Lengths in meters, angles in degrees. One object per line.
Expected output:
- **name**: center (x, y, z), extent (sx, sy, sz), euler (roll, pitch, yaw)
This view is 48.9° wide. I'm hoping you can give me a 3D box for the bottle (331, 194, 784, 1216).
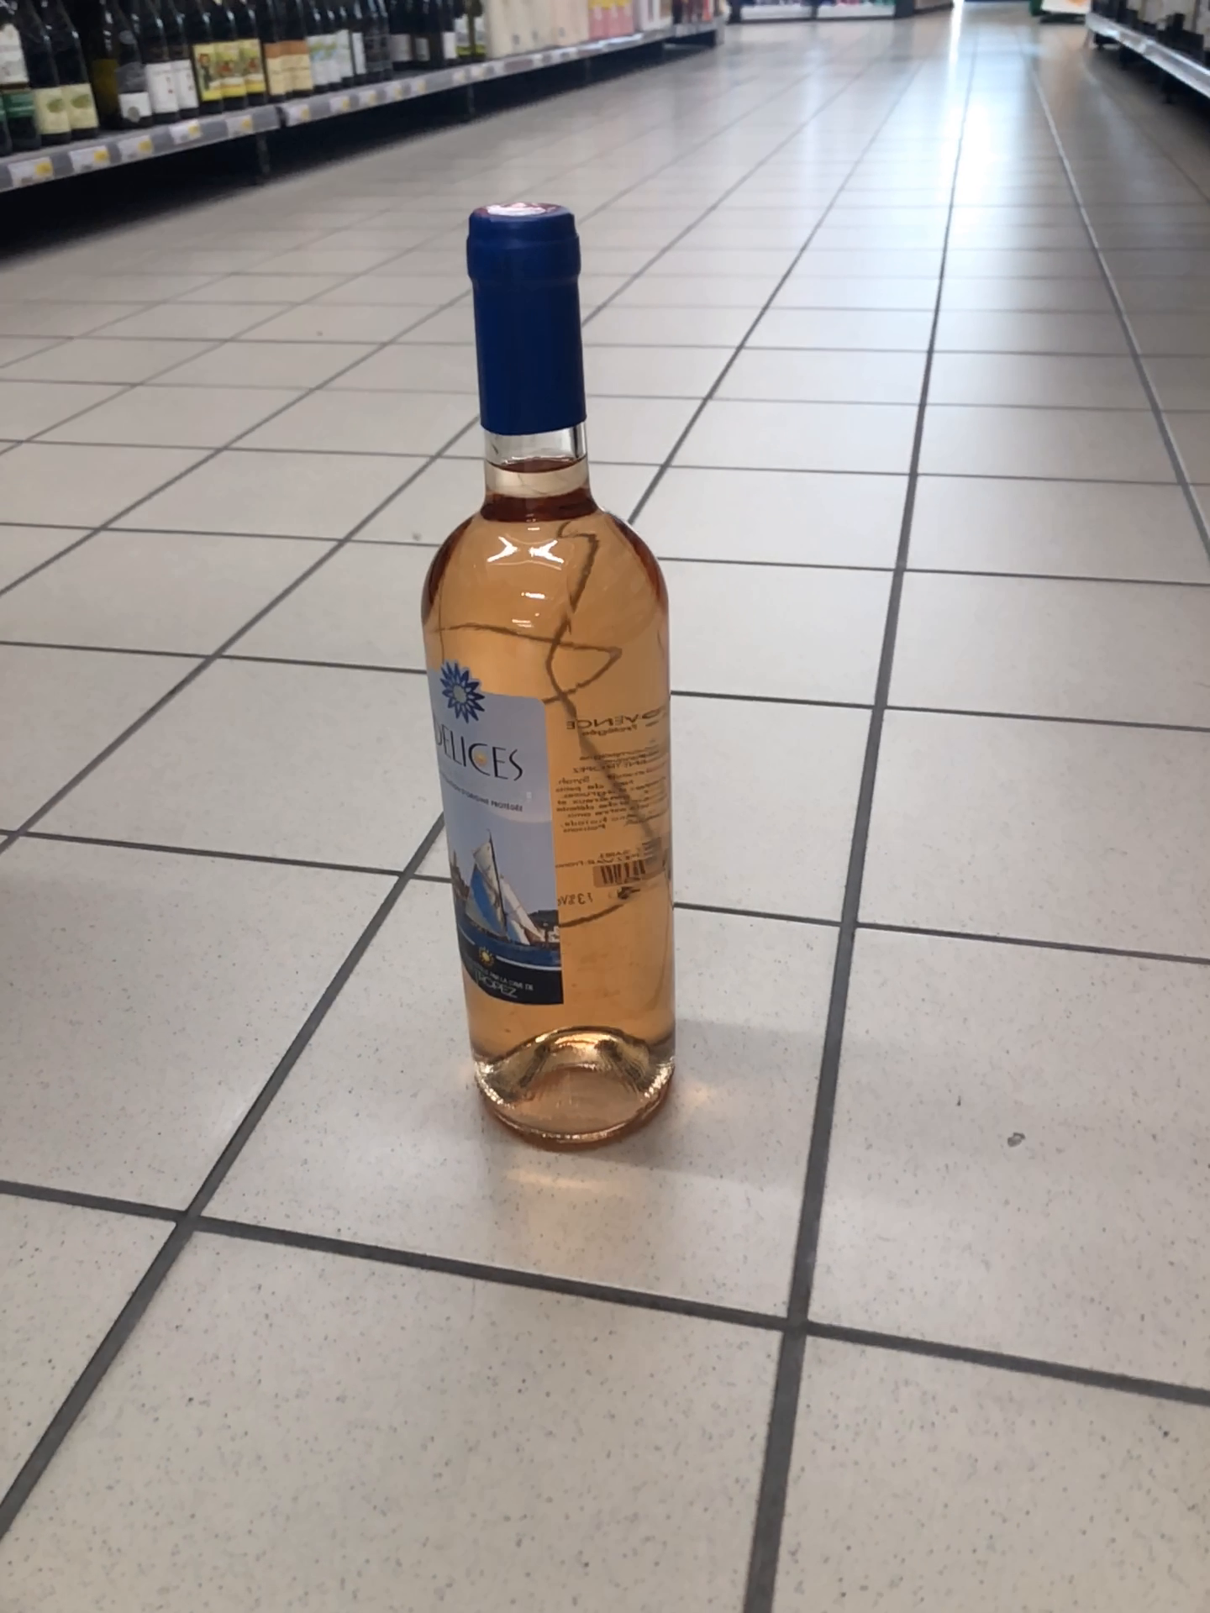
- **bottle**: center (-0.006, -0.022, 0.404), extent (0.080, 0.288, 0.080), euler (-2, 30, 1)
